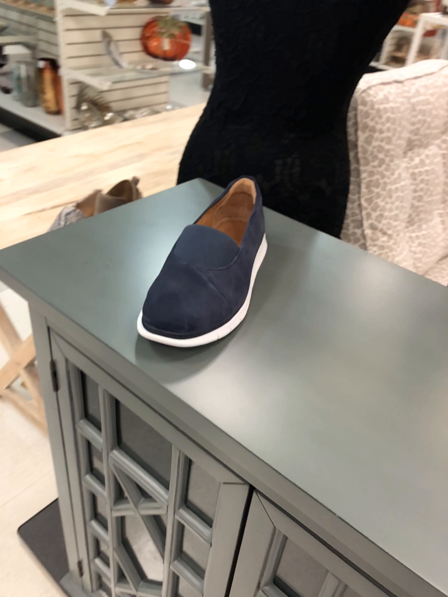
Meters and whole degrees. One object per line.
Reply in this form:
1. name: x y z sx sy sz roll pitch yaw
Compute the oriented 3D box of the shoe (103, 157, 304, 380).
1. shoe: -0.007 -0.053 0.539 0.109 0.102 0.272 17 37 14
